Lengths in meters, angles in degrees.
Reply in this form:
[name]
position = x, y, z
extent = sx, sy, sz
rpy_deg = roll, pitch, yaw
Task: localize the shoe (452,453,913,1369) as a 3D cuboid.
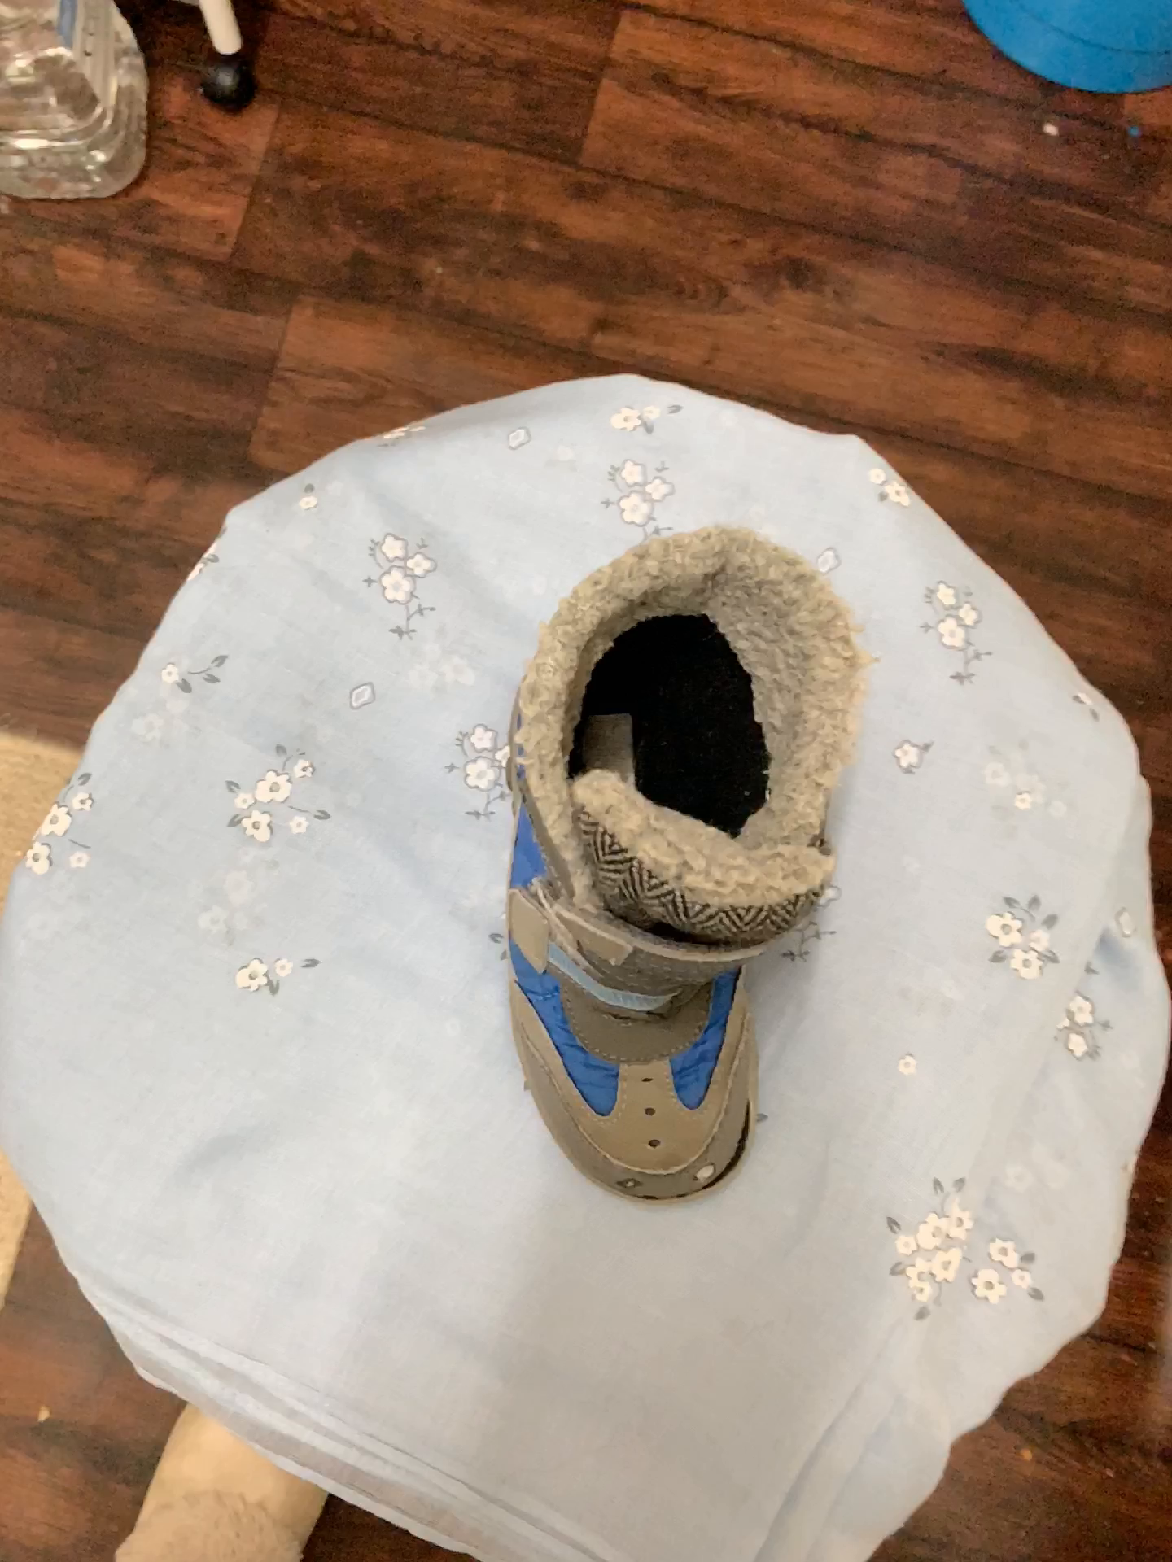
[shoe]
position = 0.016, 0.035, 0.349
extent = 0.090, 0.160, 0.200
rpy_deg = -3, 81, -2
